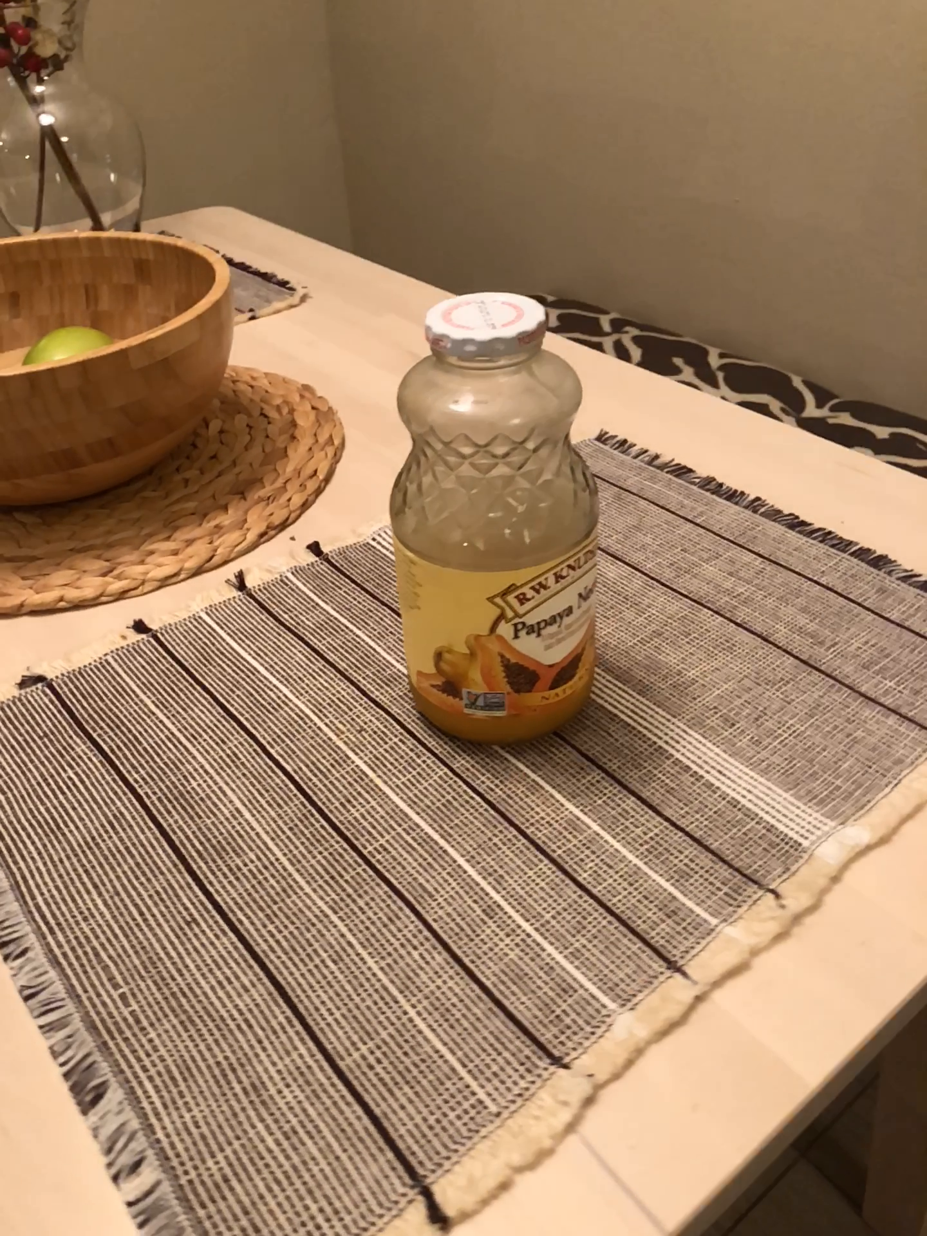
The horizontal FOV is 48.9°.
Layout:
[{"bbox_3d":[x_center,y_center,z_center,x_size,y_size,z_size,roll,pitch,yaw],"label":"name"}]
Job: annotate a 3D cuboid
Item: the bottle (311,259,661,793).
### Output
[{"bbox_3d":[0.013,-0.042,0.468,0.100,0.199,0.100,-2,36,2],"label":"bottle"}]
